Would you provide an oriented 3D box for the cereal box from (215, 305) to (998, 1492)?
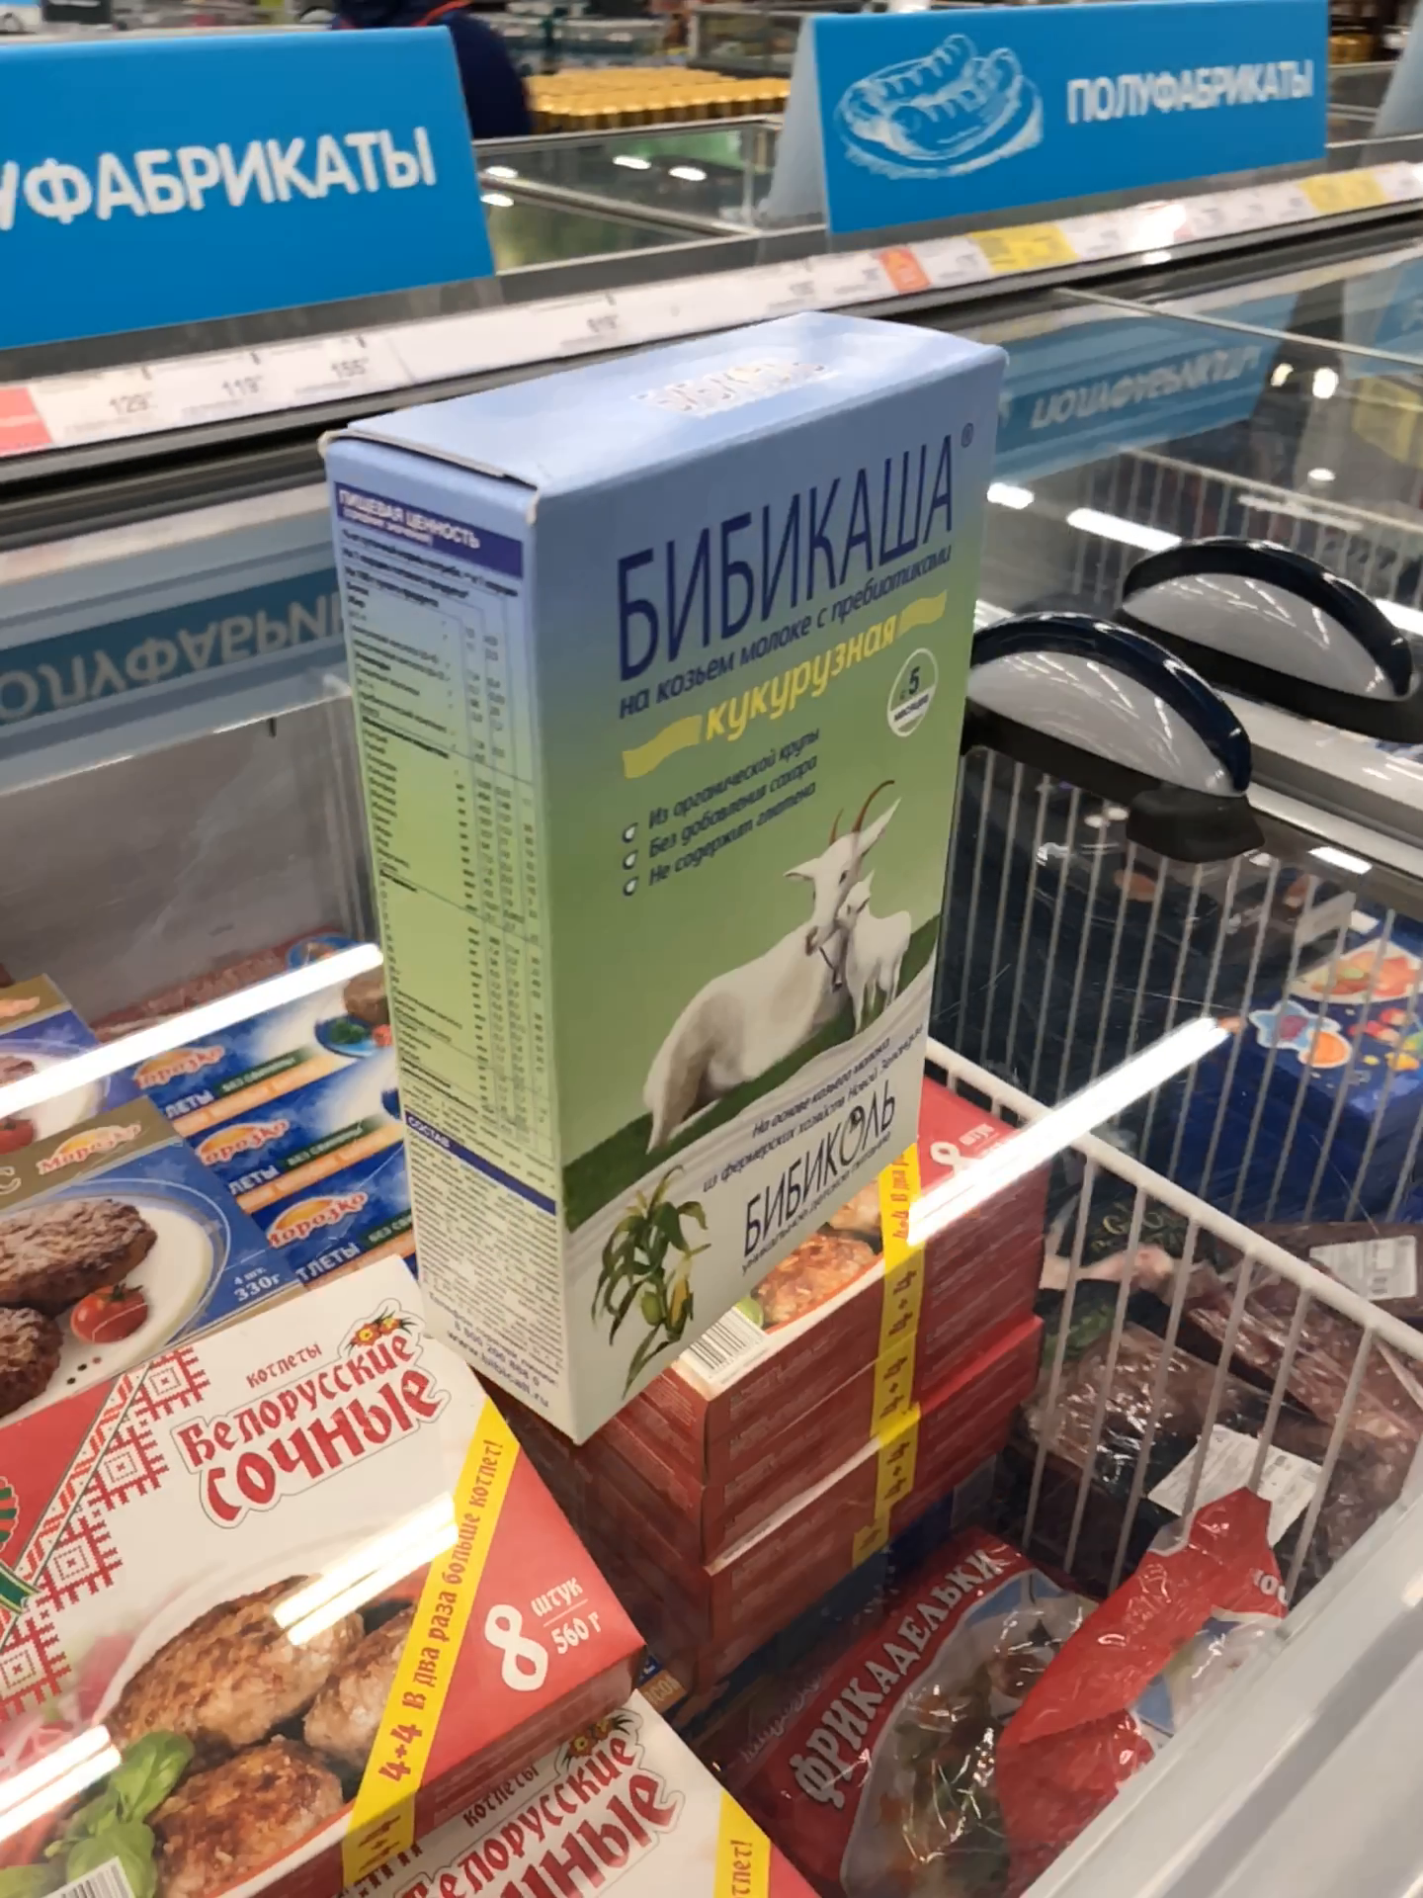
[{"bbox_3d":[-0.011,-0.012,0.320,0.050,0.199,0.141,25,40,33],"label":"cereal box"}]
